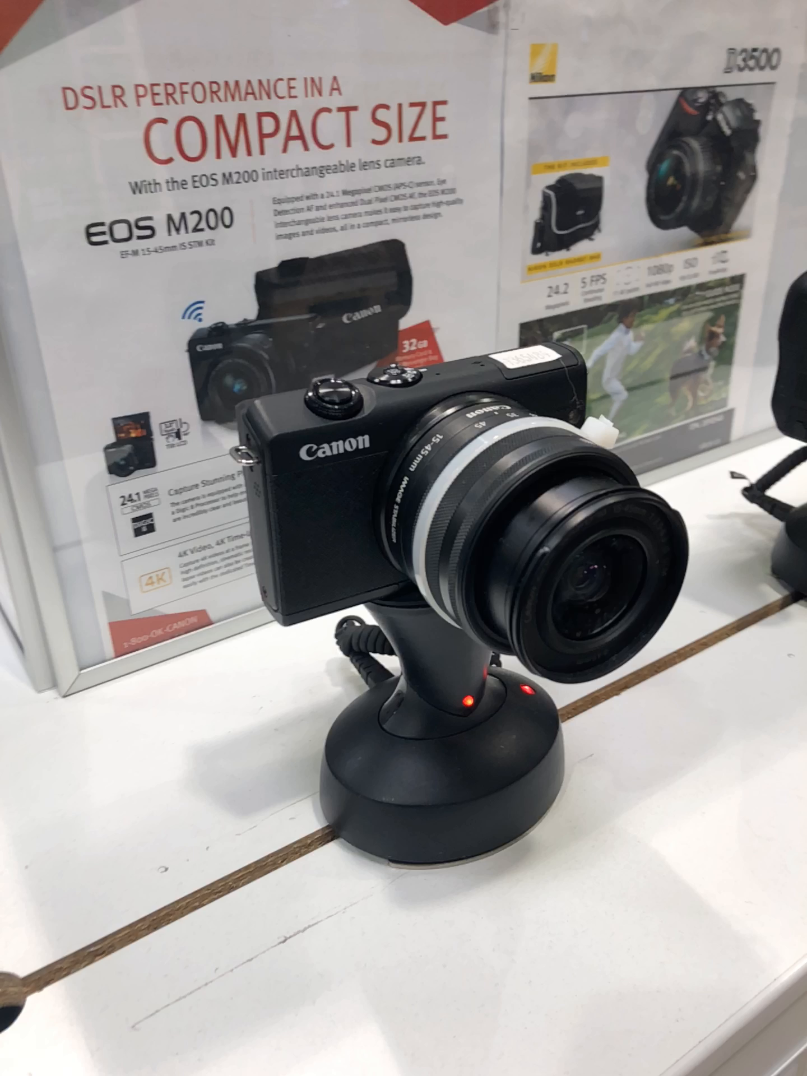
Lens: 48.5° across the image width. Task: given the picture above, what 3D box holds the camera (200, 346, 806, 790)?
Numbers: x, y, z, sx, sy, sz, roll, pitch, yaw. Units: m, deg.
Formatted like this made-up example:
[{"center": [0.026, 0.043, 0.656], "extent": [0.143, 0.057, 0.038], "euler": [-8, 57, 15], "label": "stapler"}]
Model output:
[{"center": [0.023, -0.007, 0.254], "extent": [0.120, 0.050, 0.120], "euler": [-17, 31, -26], "label": "camera"}]
